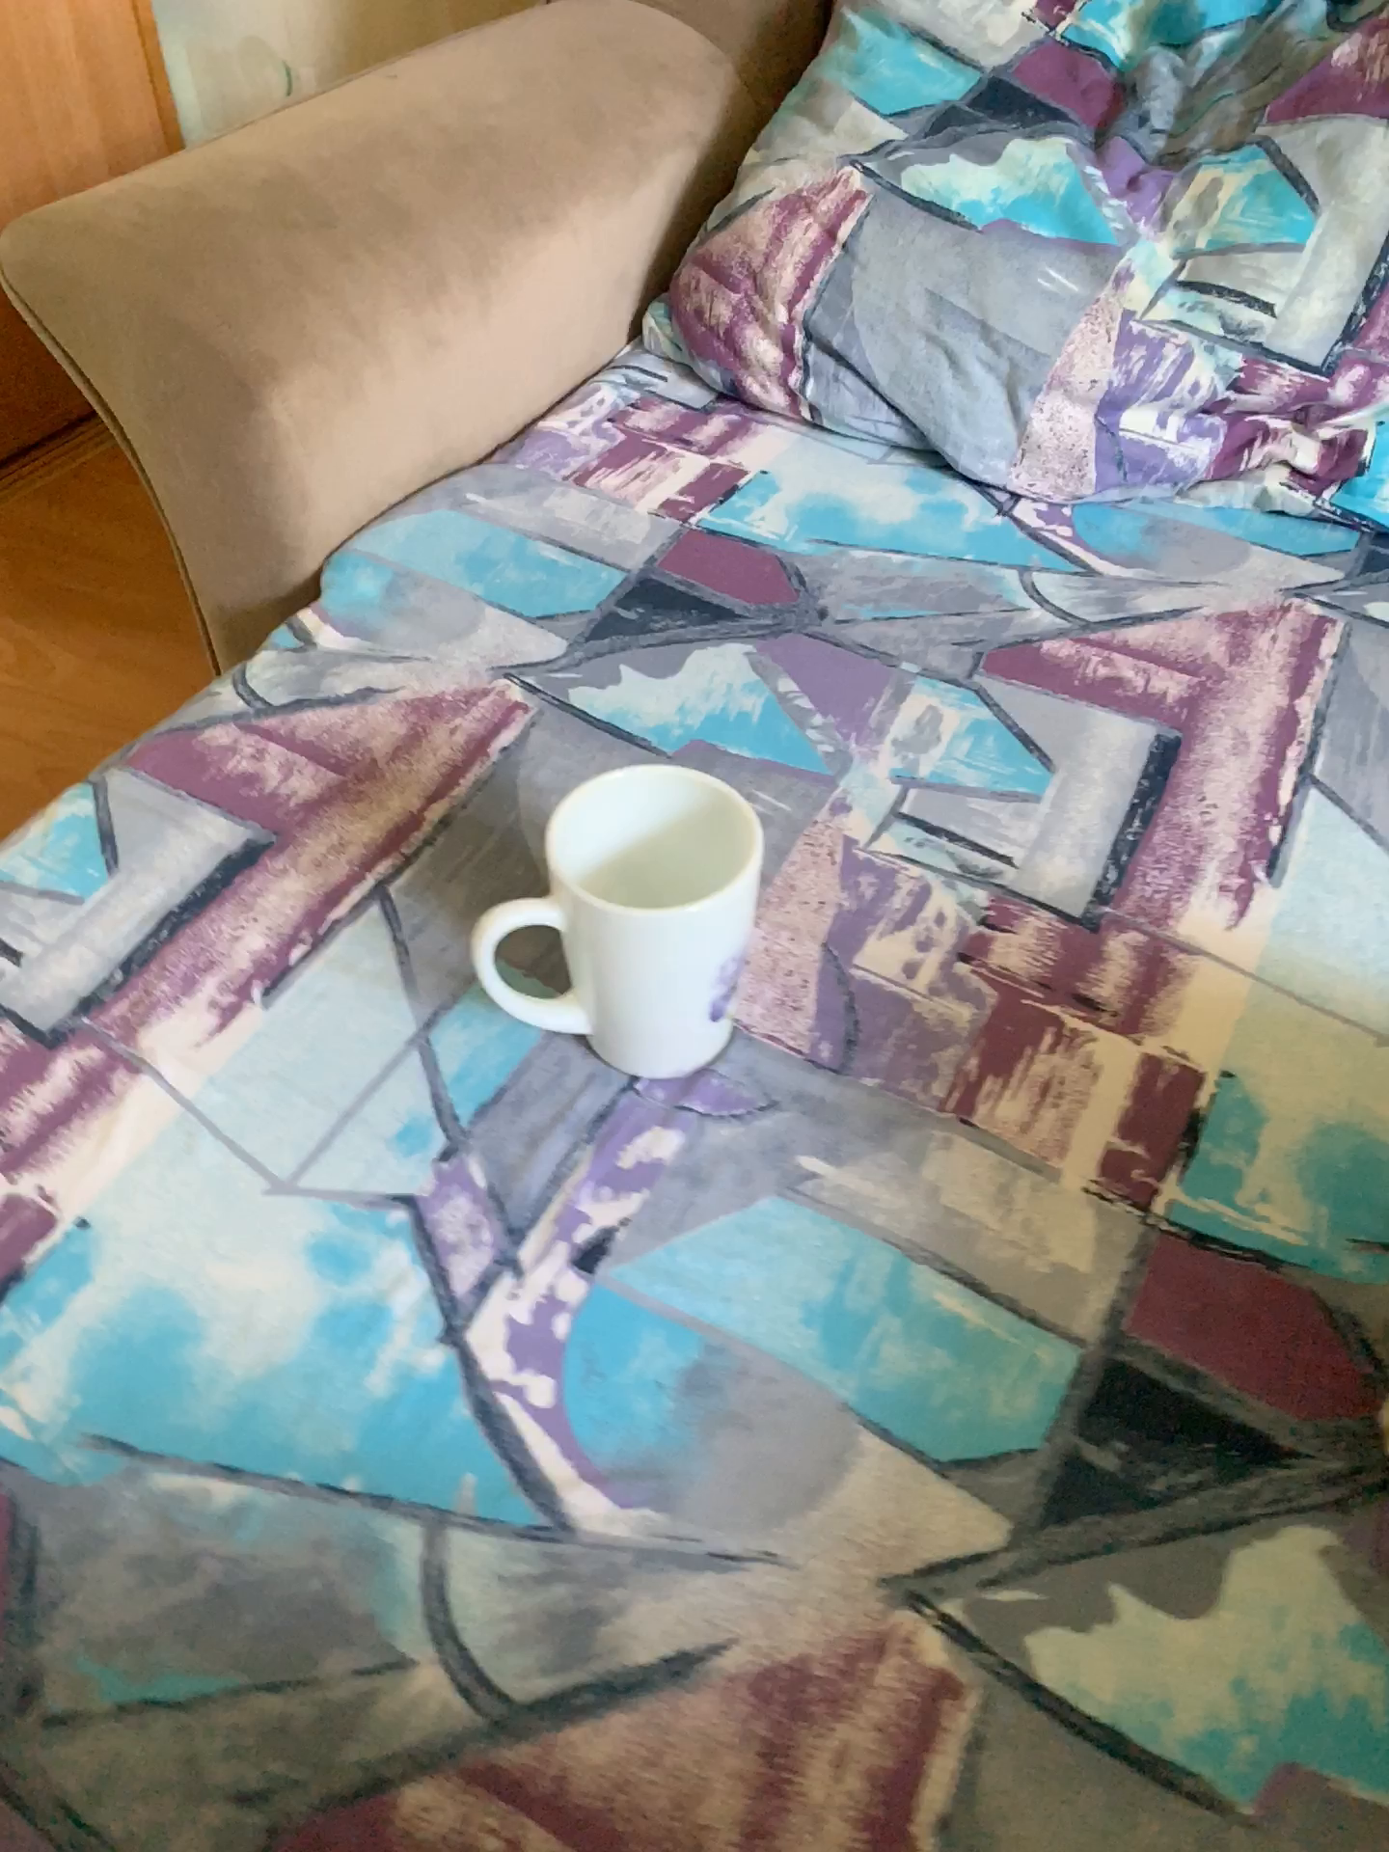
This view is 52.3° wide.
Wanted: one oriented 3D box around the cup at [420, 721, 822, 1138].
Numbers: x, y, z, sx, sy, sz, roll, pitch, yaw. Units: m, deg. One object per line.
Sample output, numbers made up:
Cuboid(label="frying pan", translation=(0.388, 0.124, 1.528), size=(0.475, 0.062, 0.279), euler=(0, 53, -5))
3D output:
Cuboid(label="cup", translation=(-0.027, 0.000, 0.529), size=(0.120, 0.099, 0.081), euler=(-16, 46, -16))
